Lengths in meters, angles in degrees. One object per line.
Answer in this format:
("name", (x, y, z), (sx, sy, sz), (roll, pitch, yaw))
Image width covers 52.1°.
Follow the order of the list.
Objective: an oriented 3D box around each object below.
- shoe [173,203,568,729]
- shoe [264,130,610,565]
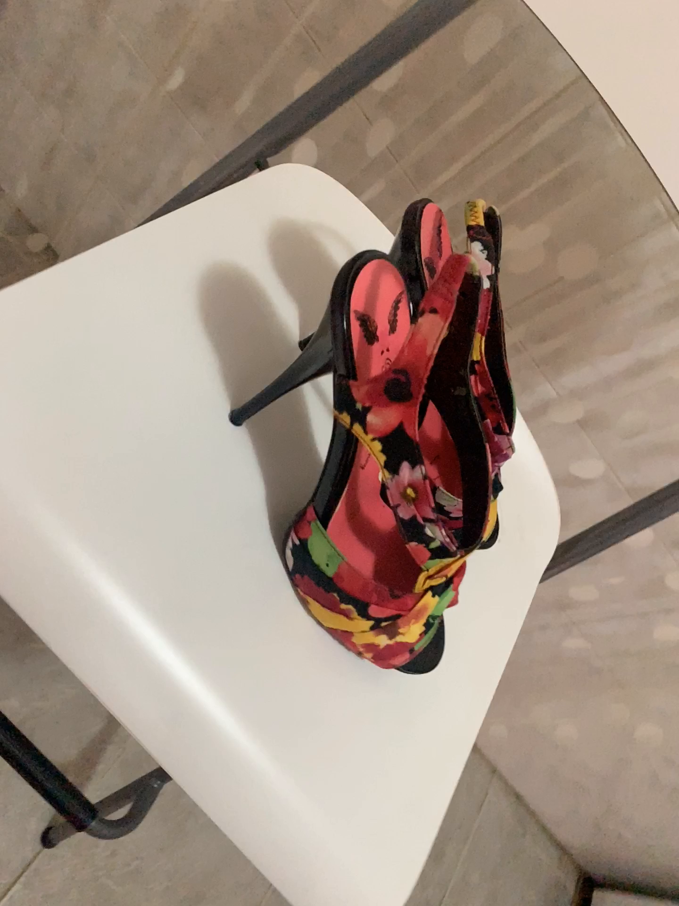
("shoe", (0.025, 0.011, 0.311), (0.083, 0.073, 0.205), (-43, 117, -41))
("shoe", (0.062, -0.042, 0.371), (0.080, 0.085, 0.205), (-53, 123, -39))
